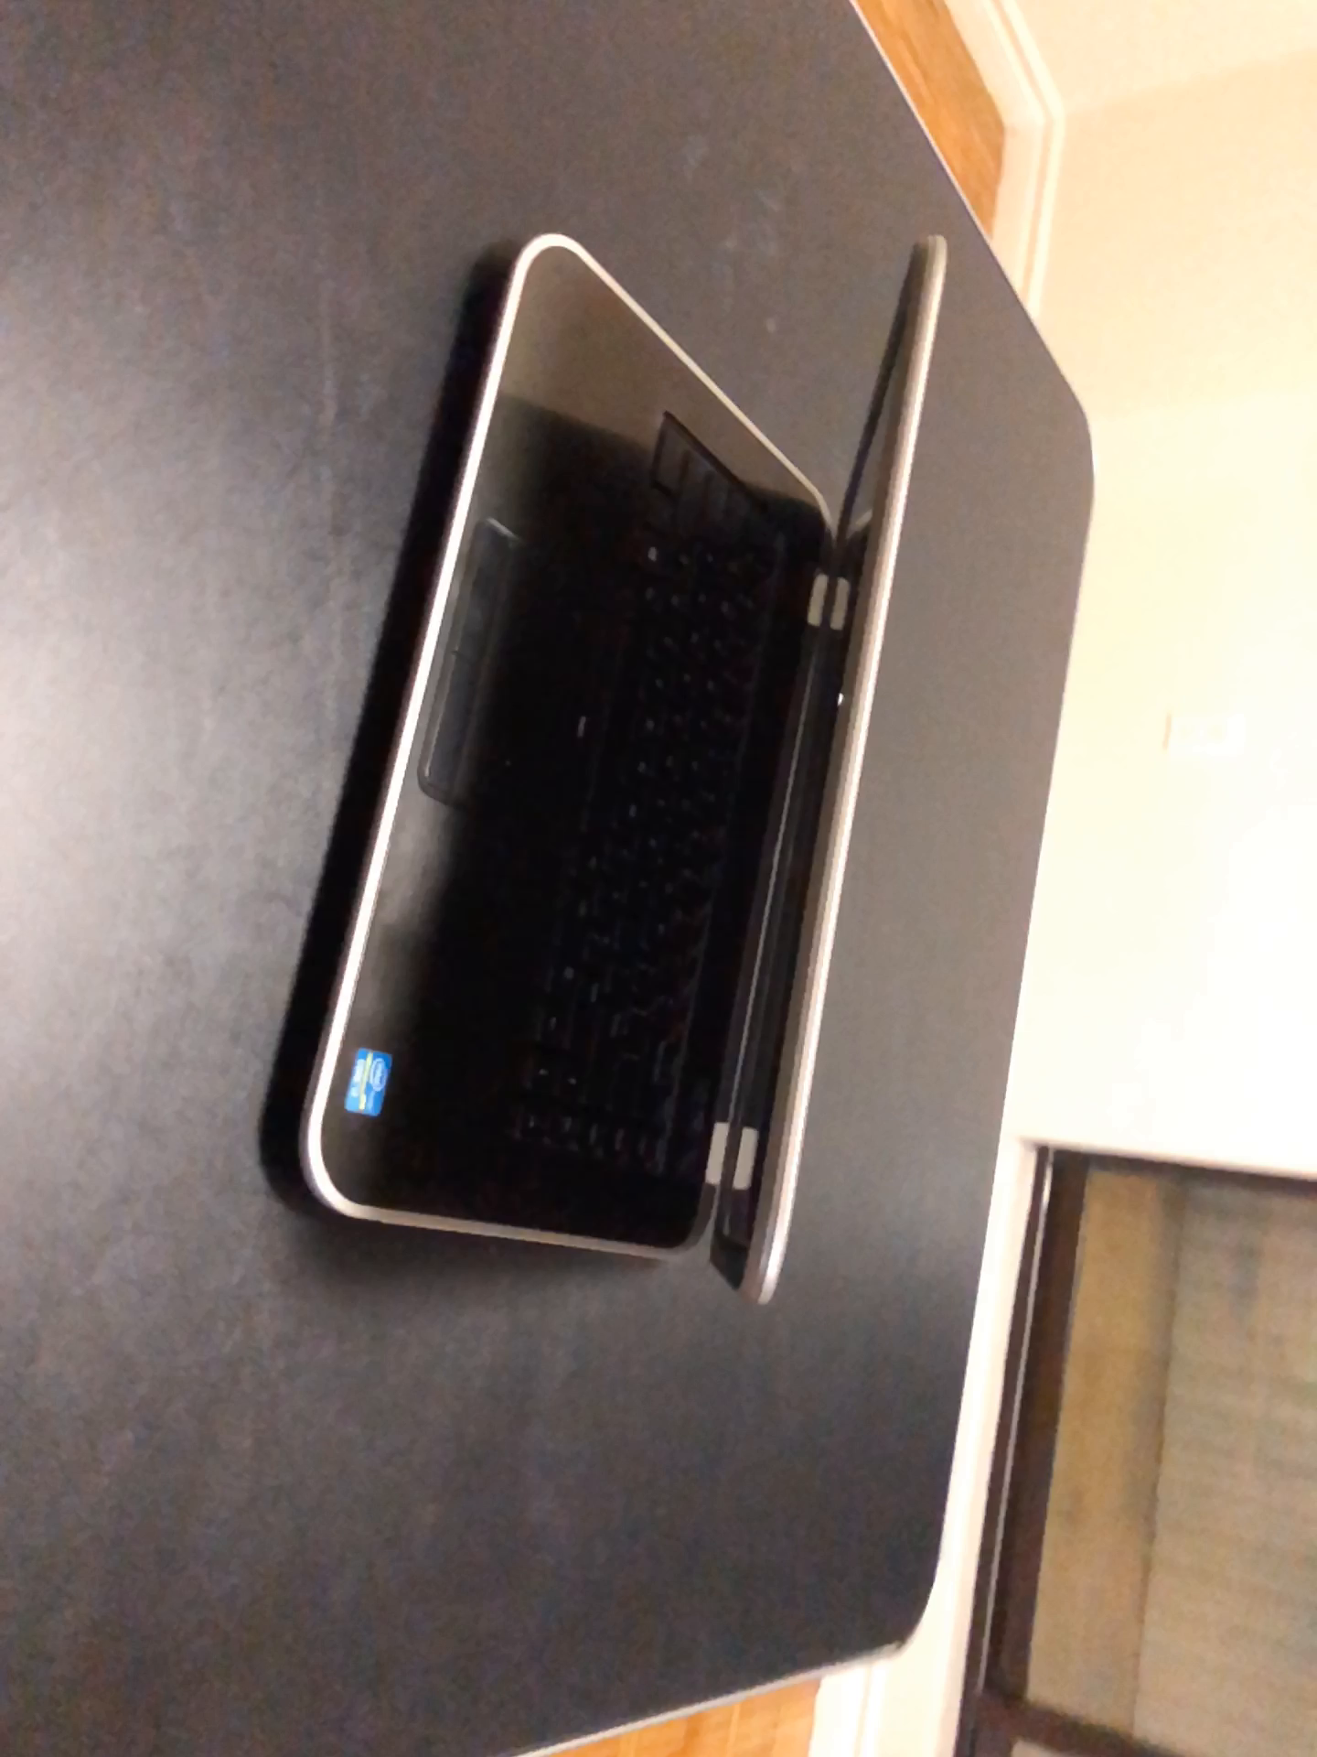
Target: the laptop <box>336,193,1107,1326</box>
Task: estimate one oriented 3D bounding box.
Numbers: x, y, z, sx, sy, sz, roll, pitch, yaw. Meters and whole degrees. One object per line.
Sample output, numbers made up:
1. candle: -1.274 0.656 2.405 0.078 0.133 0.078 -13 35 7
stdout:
1. laptop: 0.050 -0.022 0.569 0.241 0.137 0.356 27 70 -53
